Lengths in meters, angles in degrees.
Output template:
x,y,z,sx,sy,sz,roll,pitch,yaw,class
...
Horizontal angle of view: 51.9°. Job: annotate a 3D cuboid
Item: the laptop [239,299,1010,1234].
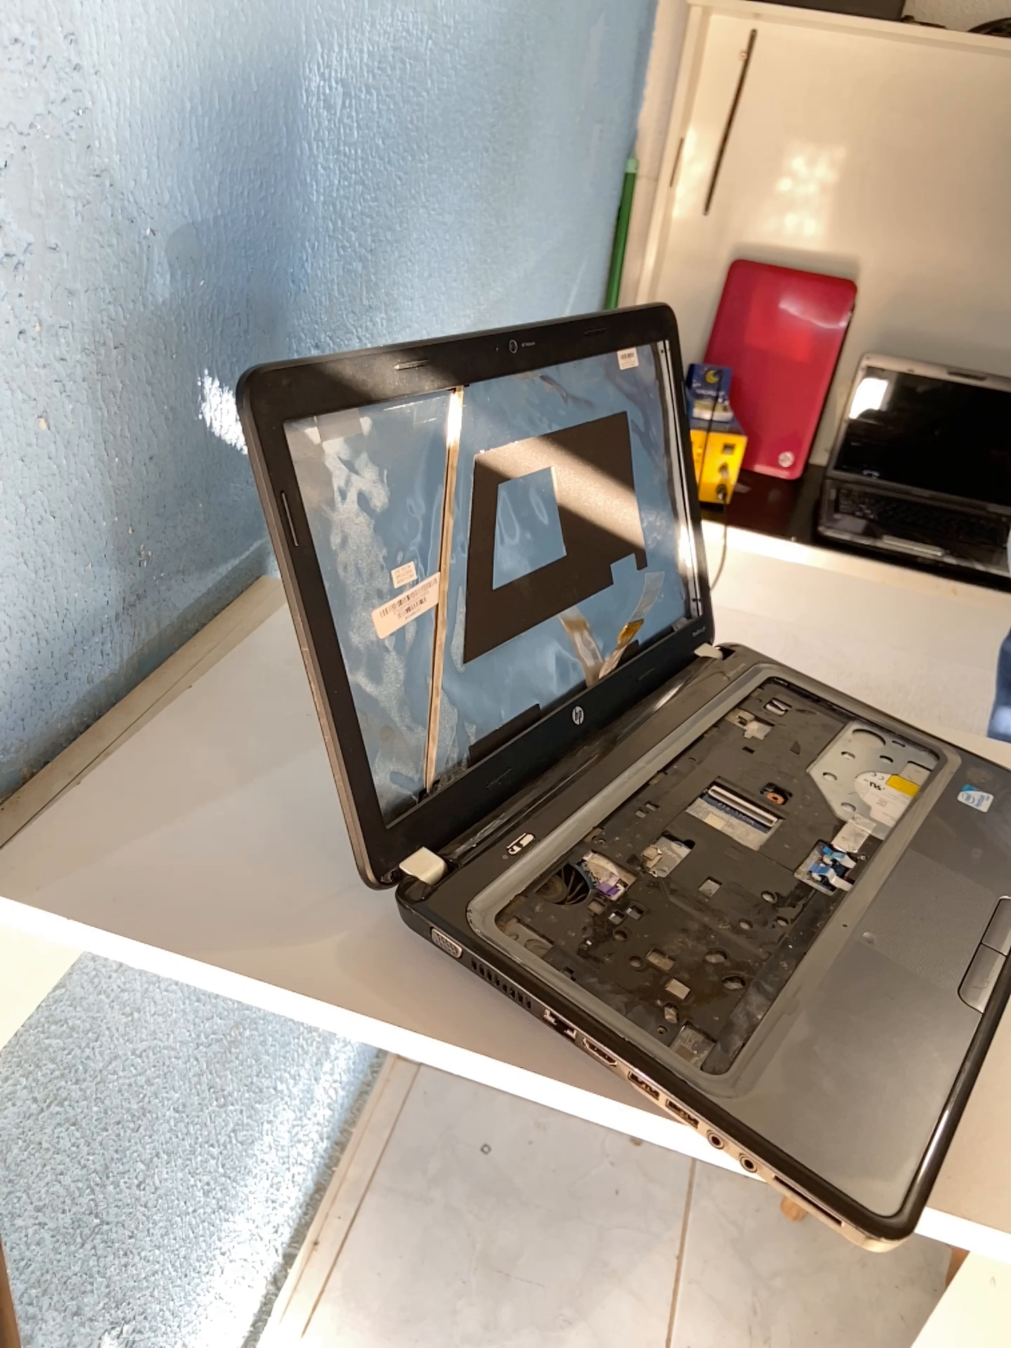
x,y,z,sx,sy,sz,roll,pitch,yaw,class
0.113,-0.023,0.495,0.323,0.194,0.337,27,35,27,laptop
